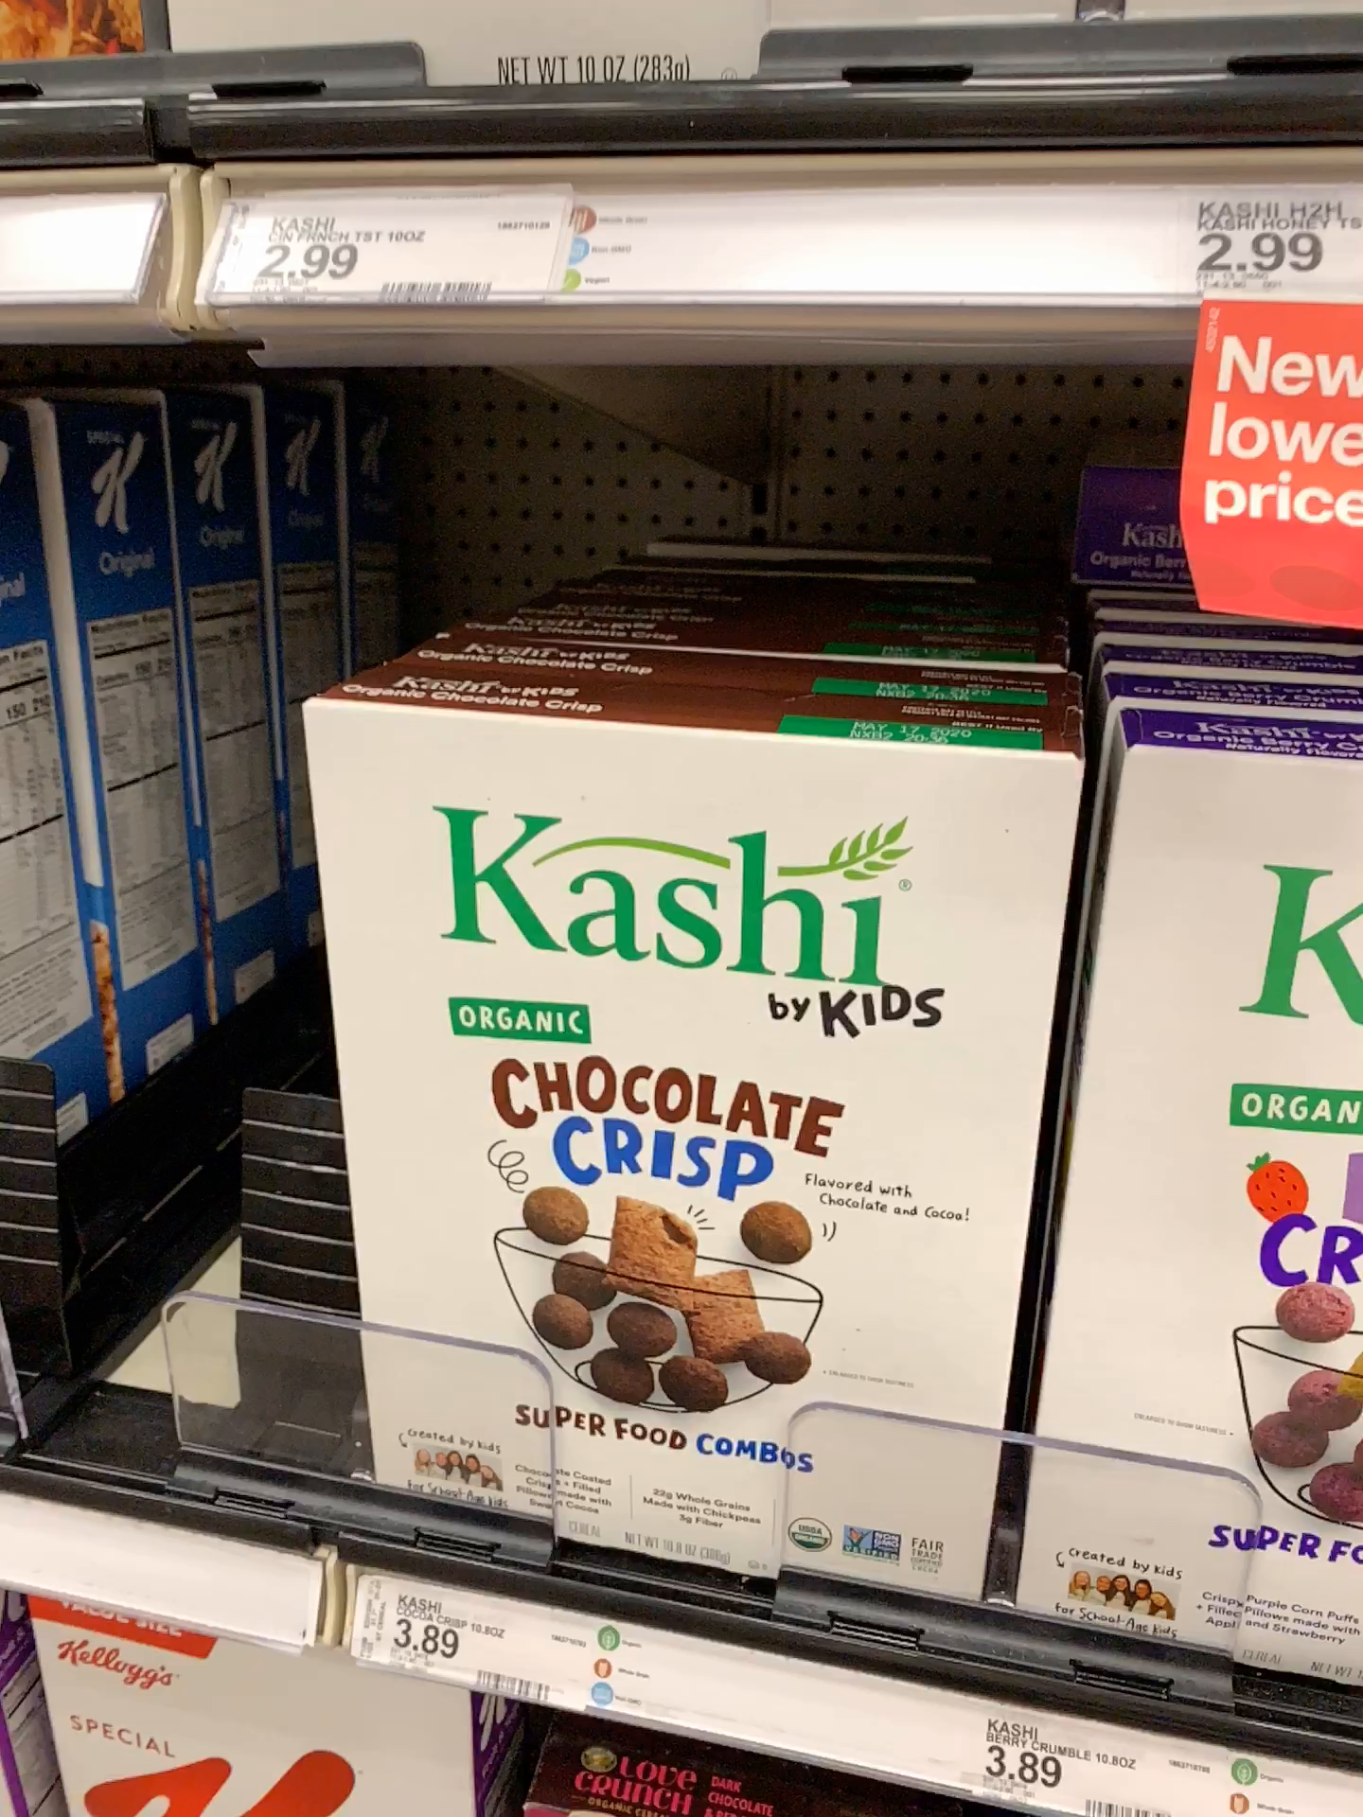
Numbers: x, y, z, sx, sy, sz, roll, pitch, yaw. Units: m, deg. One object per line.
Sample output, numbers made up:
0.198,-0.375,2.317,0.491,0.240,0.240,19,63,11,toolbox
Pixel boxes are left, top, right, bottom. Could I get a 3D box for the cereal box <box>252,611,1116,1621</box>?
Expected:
0.000,0.058,0.393,0.200,0.259,0.060,5,22,12,cereal box
